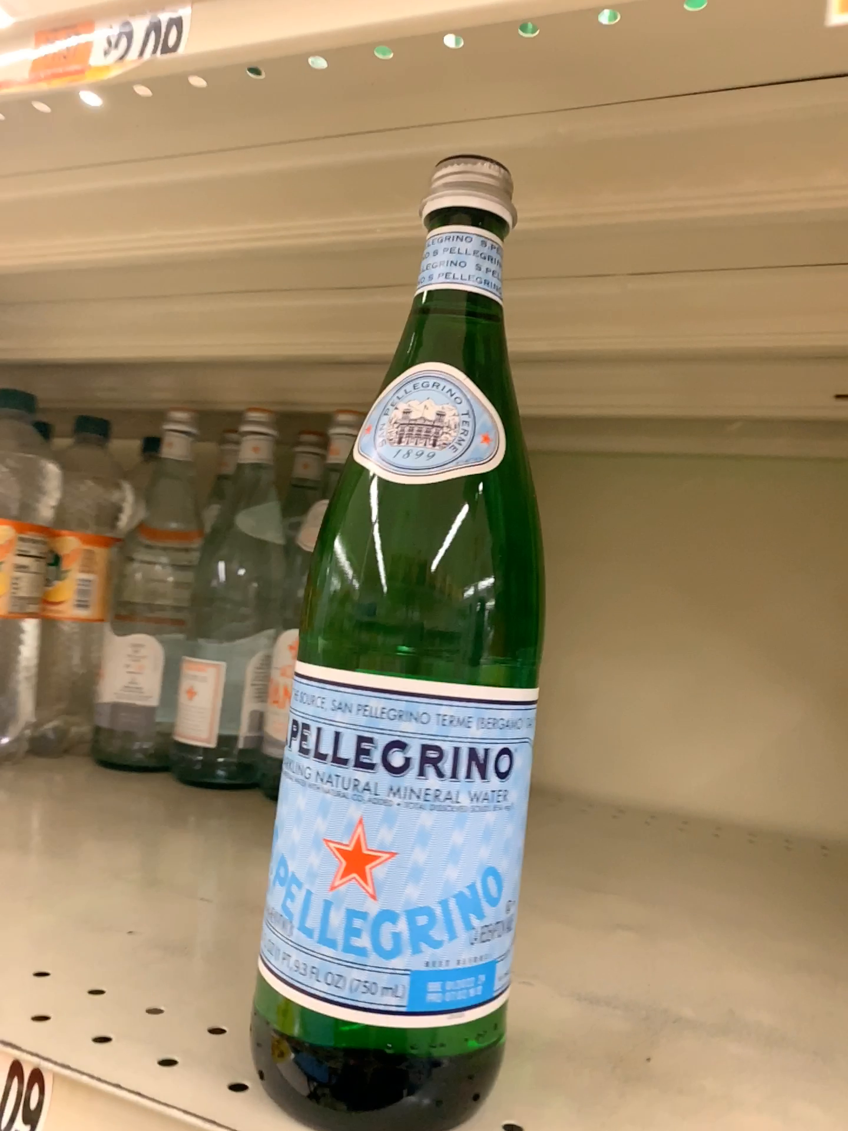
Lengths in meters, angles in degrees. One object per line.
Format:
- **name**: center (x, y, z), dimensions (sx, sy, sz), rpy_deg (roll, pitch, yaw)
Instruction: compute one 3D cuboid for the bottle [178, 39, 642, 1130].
- **bottle**: center (0.003, 0.009, 0.277), dimensions (0.090, 0.290, 0.090), rpy_deg (5, -3, 0)
